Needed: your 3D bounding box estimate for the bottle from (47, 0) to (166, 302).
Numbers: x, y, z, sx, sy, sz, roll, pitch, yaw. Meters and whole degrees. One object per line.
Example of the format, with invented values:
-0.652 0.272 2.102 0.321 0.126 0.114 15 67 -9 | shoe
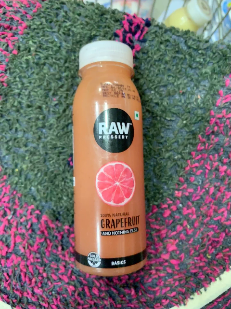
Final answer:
-0.008 -0.005 0.162 0.060 0.060 0.160 0 83 -7 | bottle
